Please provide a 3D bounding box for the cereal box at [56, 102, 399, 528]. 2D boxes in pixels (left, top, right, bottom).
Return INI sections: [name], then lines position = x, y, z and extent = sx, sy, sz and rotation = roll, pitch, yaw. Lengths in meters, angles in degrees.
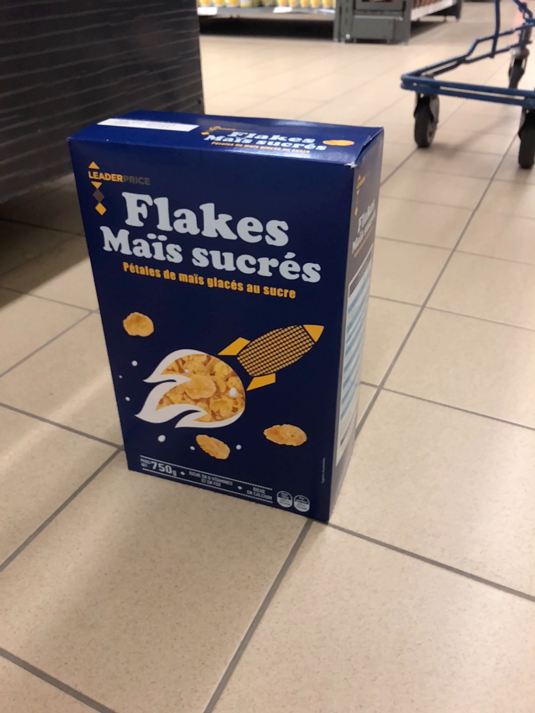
[cereal box]
position = -0.022, -0.029, 0.485
extent = 0.210, 0.308, 0.101
rotation = 10, 34, 17
